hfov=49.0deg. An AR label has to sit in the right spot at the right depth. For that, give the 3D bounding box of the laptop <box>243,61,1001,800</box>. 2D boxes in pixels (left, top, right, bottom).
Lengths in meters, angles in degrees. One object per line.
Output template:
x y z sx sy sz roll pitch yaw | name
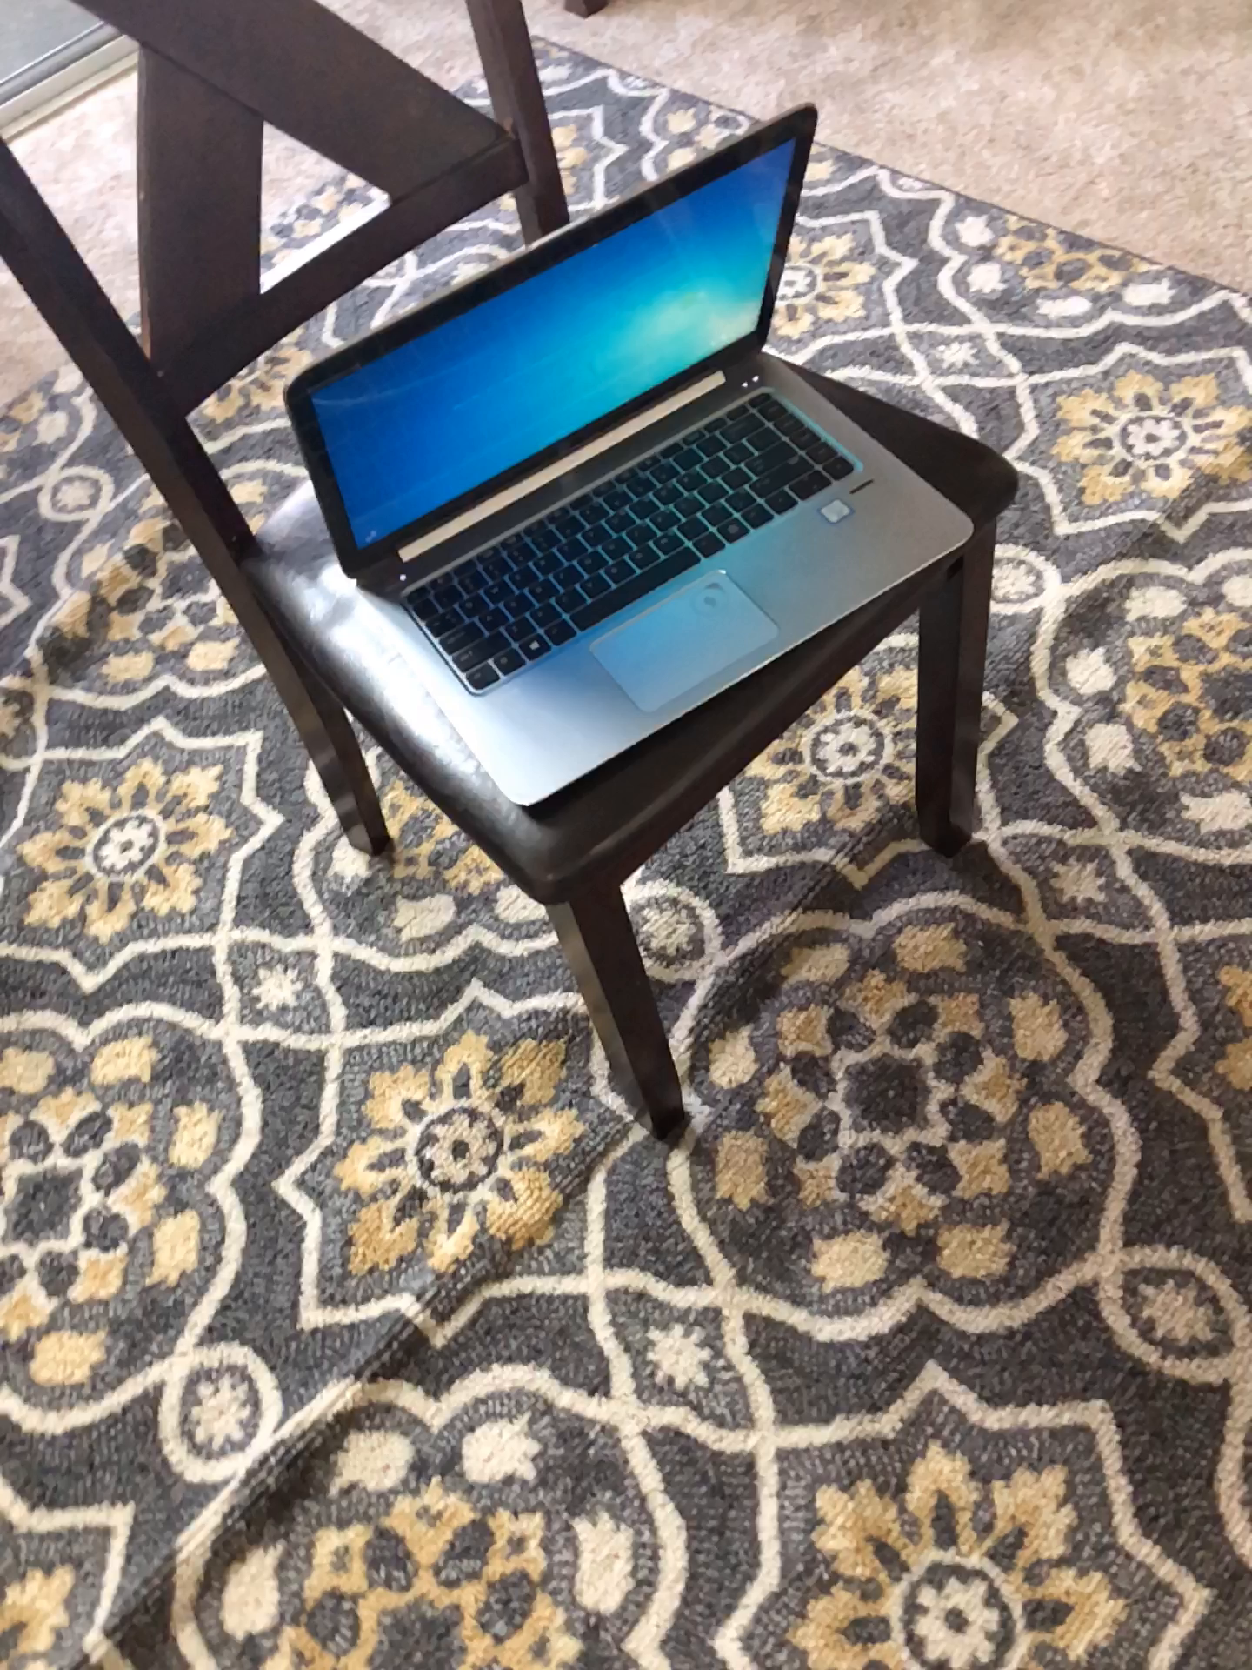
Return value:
0.005 -0.228 0.763 0.323 0.193 0.212 -31 57 -11 | laptop
